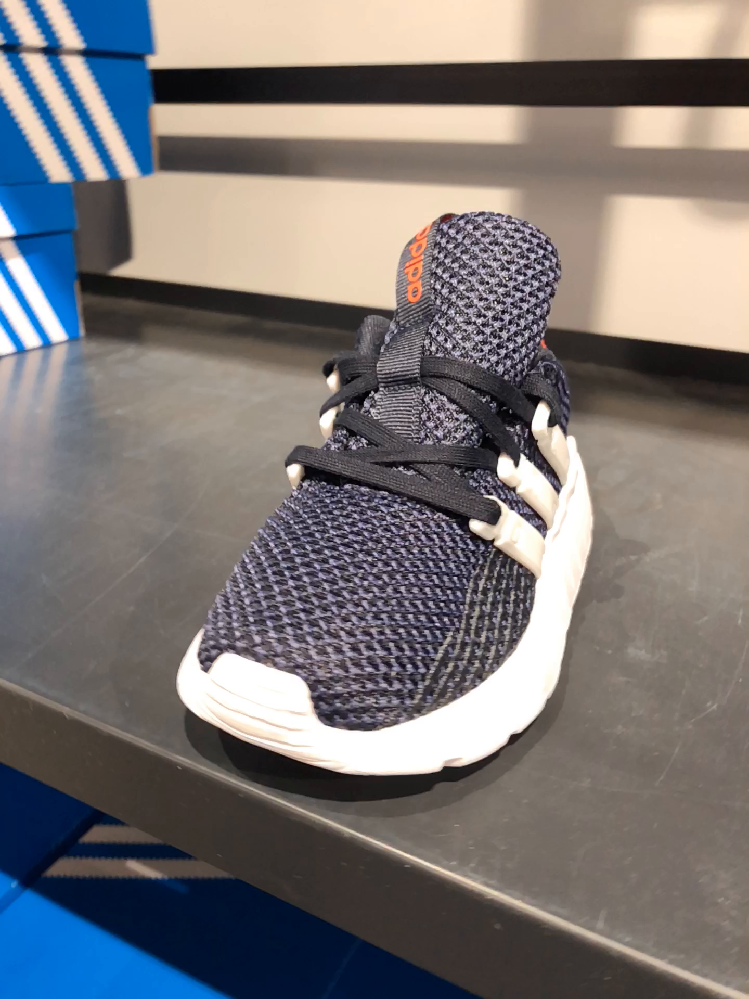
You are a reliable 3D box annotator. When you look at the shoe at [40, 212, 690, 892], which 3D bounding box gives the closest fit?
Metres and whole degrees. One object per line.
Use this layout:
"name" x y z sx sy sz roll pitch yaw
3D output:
"shoe" 0.021 -0.016 0.250 0.090 0.110 0.201 13 28 25
